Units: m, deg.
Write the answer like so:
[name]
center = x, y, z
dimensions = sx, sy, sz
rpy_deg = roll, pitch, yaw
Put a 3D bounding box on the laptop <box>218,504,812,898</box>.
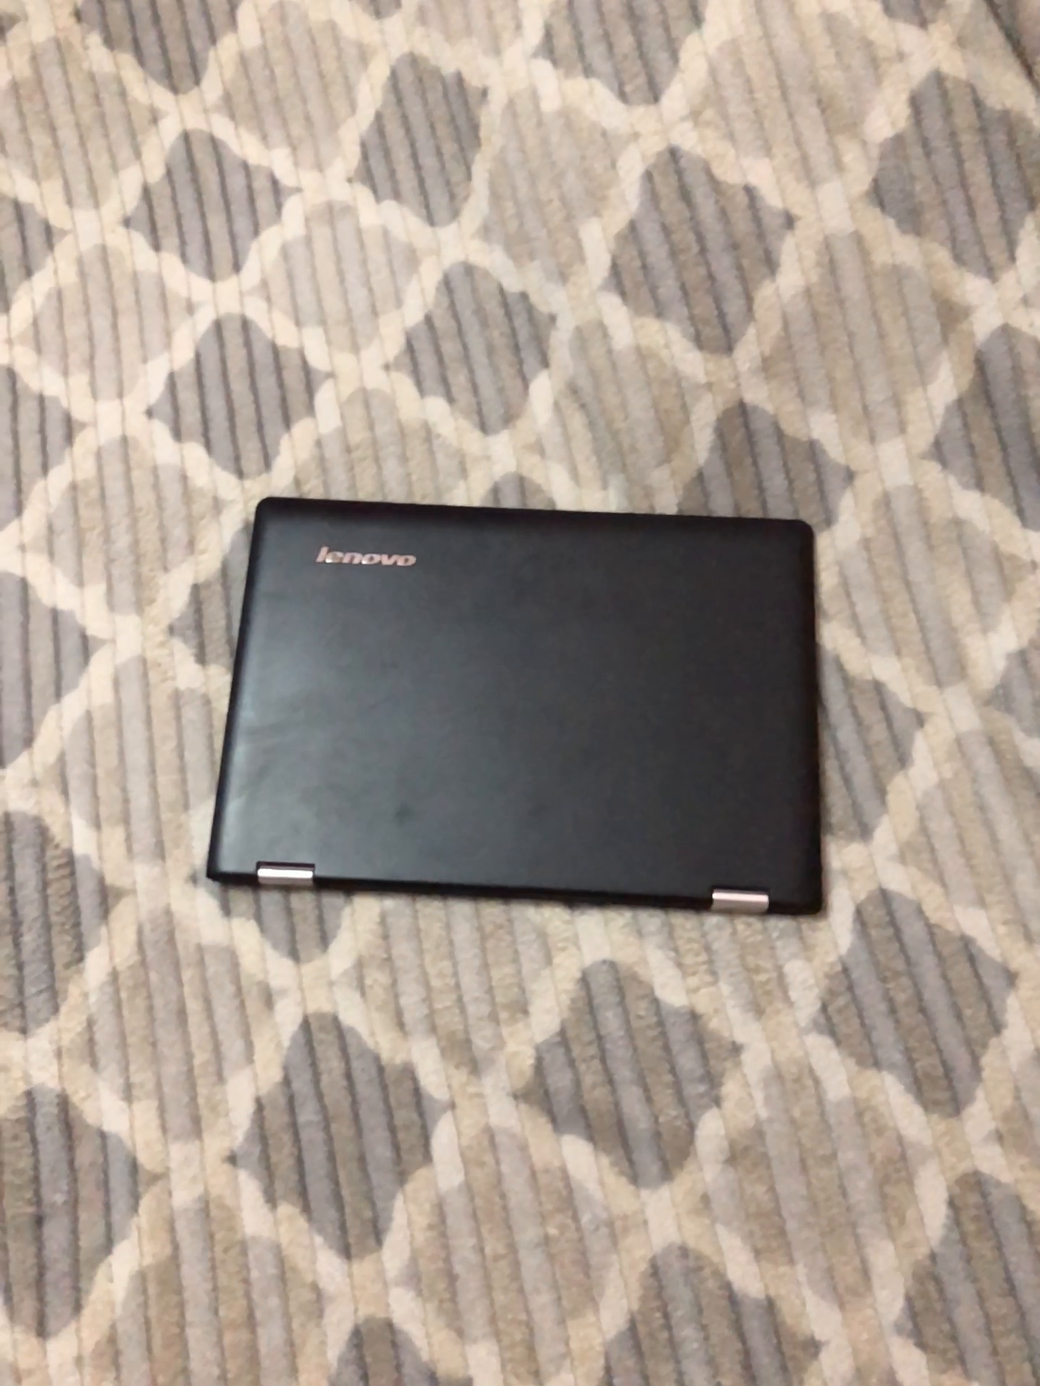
[laptop]
center = 0.003, -0.001, 0.689
dimensions = 0.339, 0.005, 0.231
rpy_deg = 3, 74, 1
